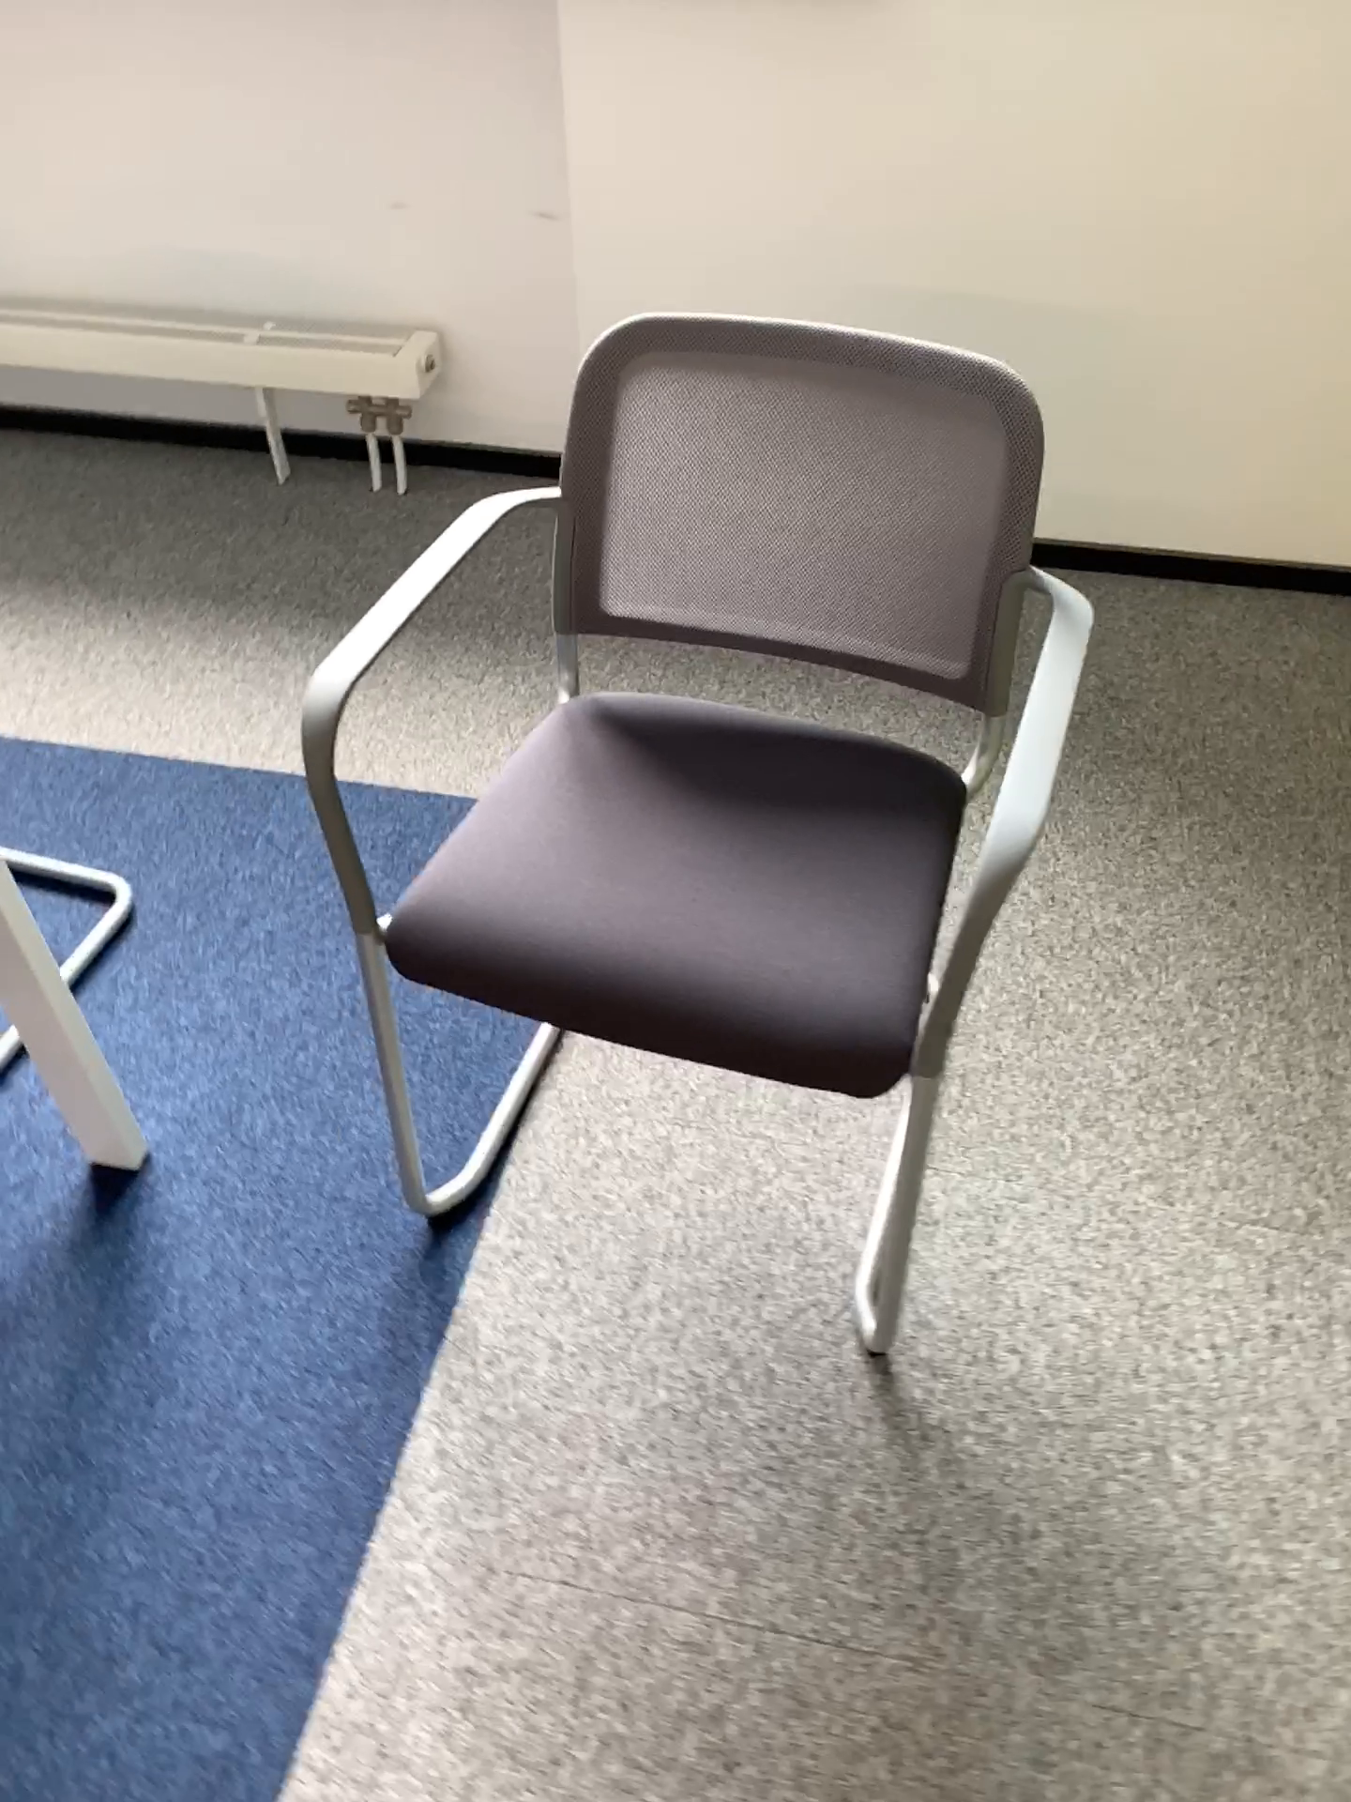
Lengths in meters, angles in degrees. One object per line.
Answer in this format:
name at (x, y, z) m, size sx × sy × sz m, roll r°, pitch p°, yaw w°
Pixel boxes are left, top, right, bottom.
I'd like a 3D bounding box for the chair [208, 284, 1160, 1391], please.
chair at (0.047, -0.052, 1.234) m, size 0.530 × 0.726 × 0.522 m, roll 14°, pitch 46°, yaw 15°
